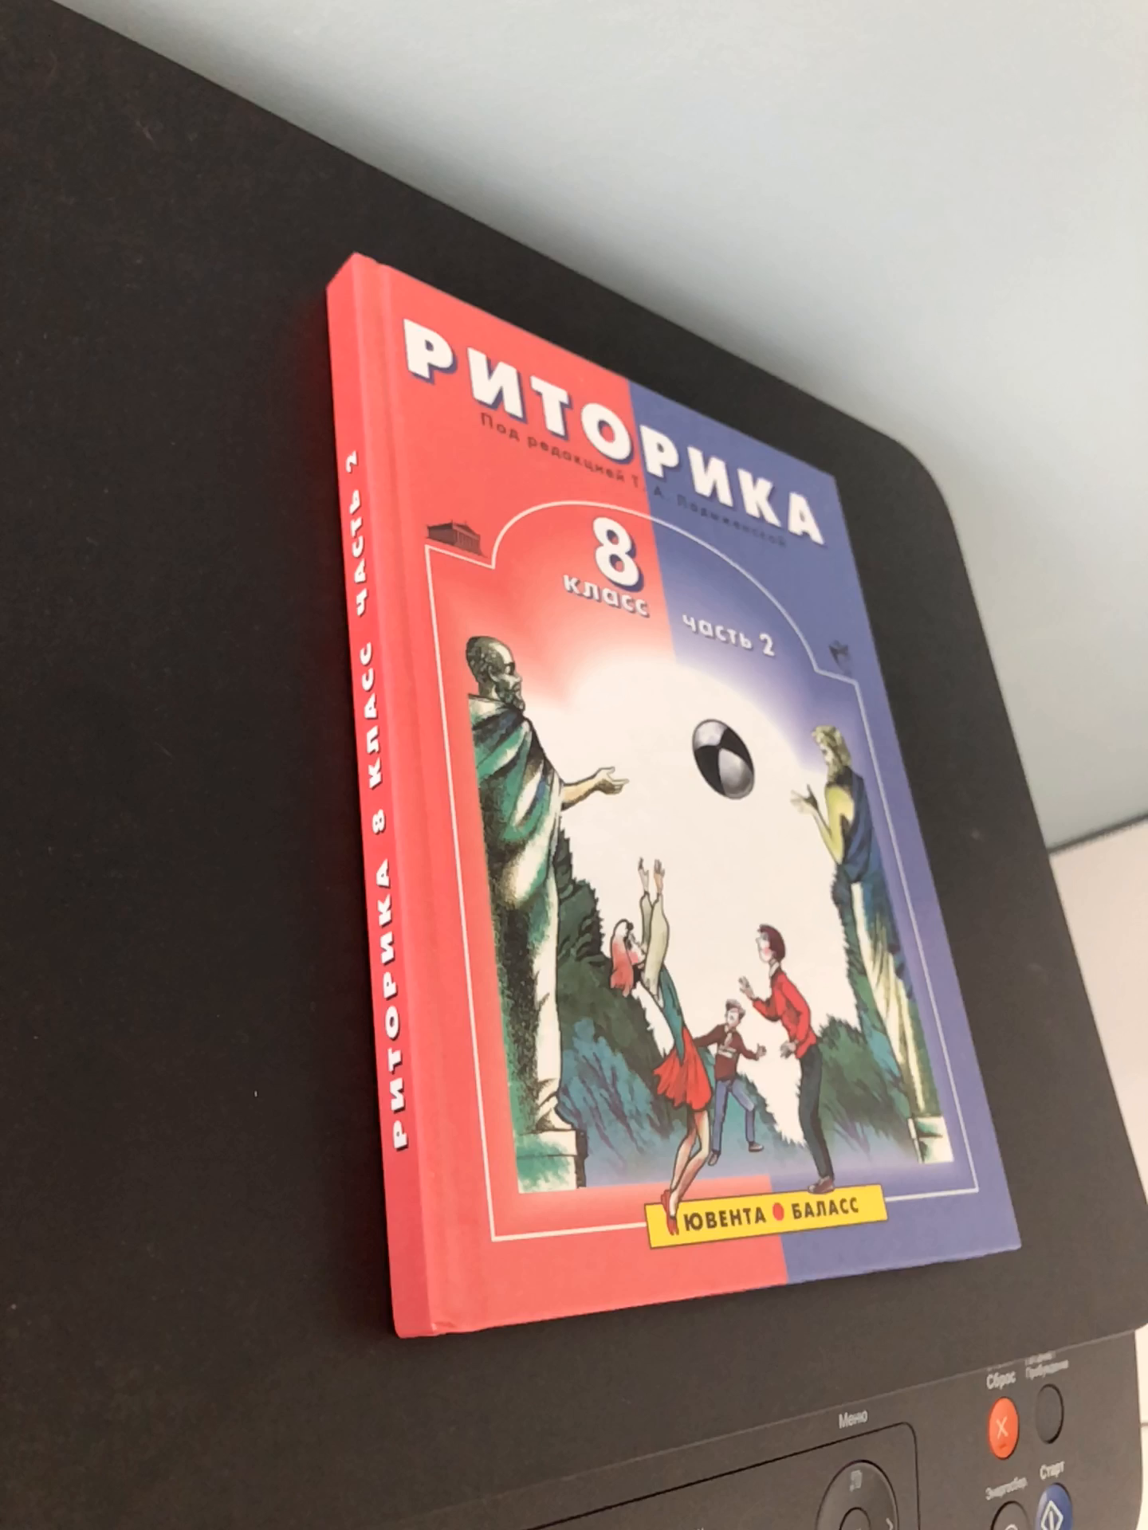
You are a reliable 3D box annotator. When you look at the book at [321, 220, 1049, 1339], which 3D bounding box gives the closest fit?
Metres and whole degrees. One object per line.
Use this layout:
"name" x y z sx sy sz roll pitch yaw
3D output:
"book" 0.027 0.001 0.295 0.171 0.020 0.221 12 61 -39
